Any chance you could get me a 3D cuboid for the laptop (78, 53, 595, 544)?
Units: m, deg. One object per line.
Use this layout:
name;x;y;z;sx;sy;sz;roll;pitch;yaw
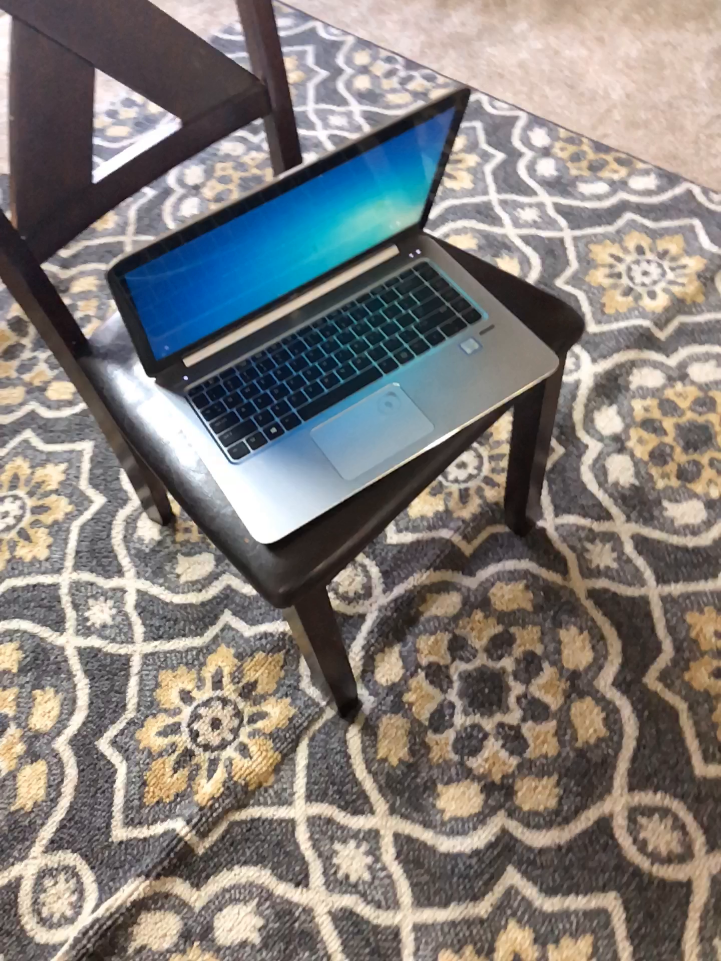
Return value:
laptop;-0.014;-0.155;0.664;0.323;0.194;0.212;-31;60;-14
